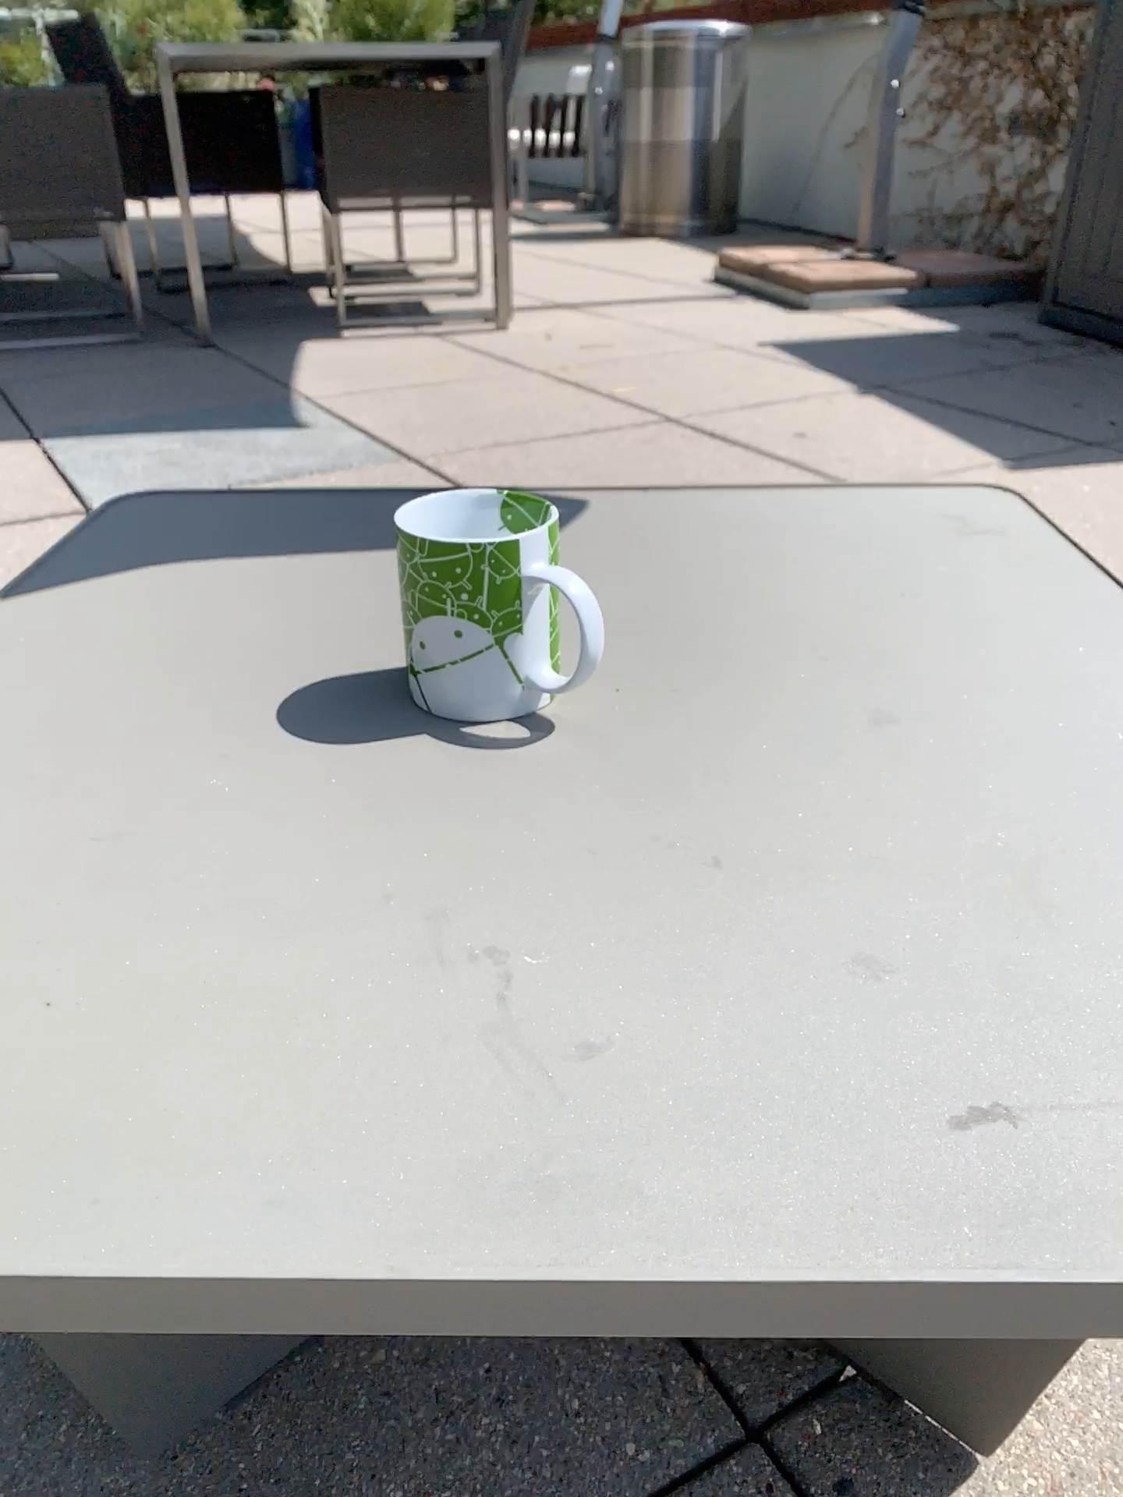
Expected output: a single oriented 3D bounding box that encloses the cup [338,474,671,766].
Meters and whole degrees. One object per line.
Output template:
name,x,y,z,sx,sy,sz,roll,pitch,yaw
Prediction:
cup,-0.024,-0.065,0.543,0.120,0.090,0.090,16,33,29
